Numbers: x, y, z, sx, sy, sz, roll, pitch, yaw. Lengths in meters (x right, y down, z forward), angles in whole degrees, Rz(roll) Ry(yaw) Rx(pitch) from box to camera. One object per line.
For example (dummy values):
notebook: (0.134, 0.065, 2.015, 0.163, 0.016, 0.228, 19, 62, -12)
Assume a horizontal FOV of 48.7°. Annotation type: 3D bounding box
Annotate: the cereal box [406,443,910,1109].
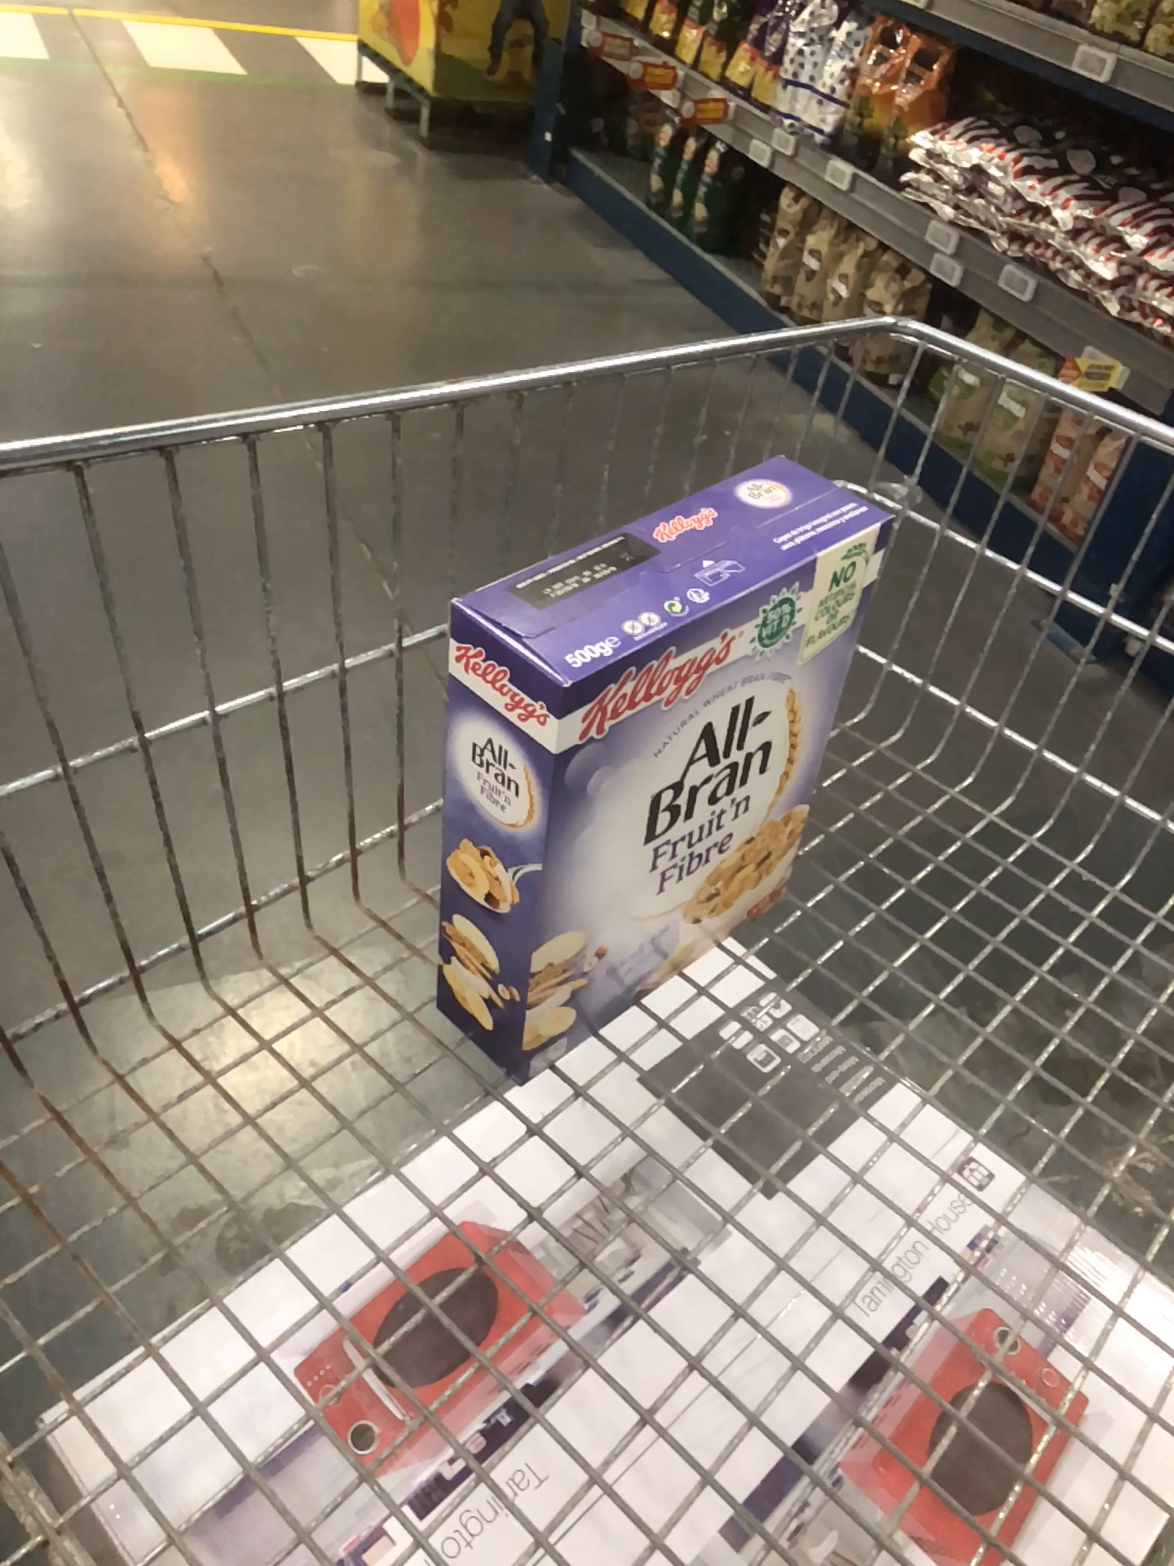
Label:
cereal box: (0.024, -0.003, 0.577, 0.201, 0.229, 0.080, -31, 54, -35)
